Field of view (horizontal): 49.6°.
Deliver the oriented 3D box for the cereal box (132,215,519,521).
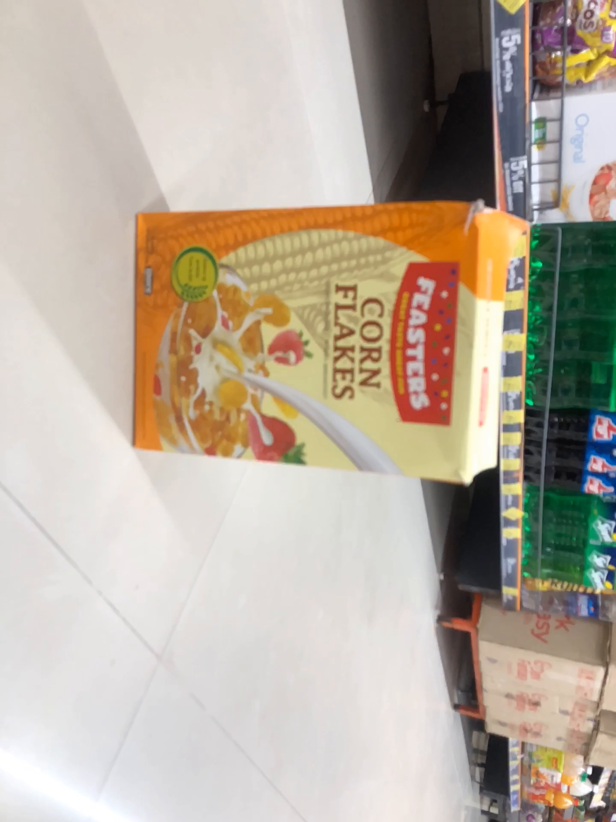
[{"bbox_3d":[0.007,-0.034,0.485,0.060,0.268,0.190,-11,103,-72],"label":"cereal box"}]
